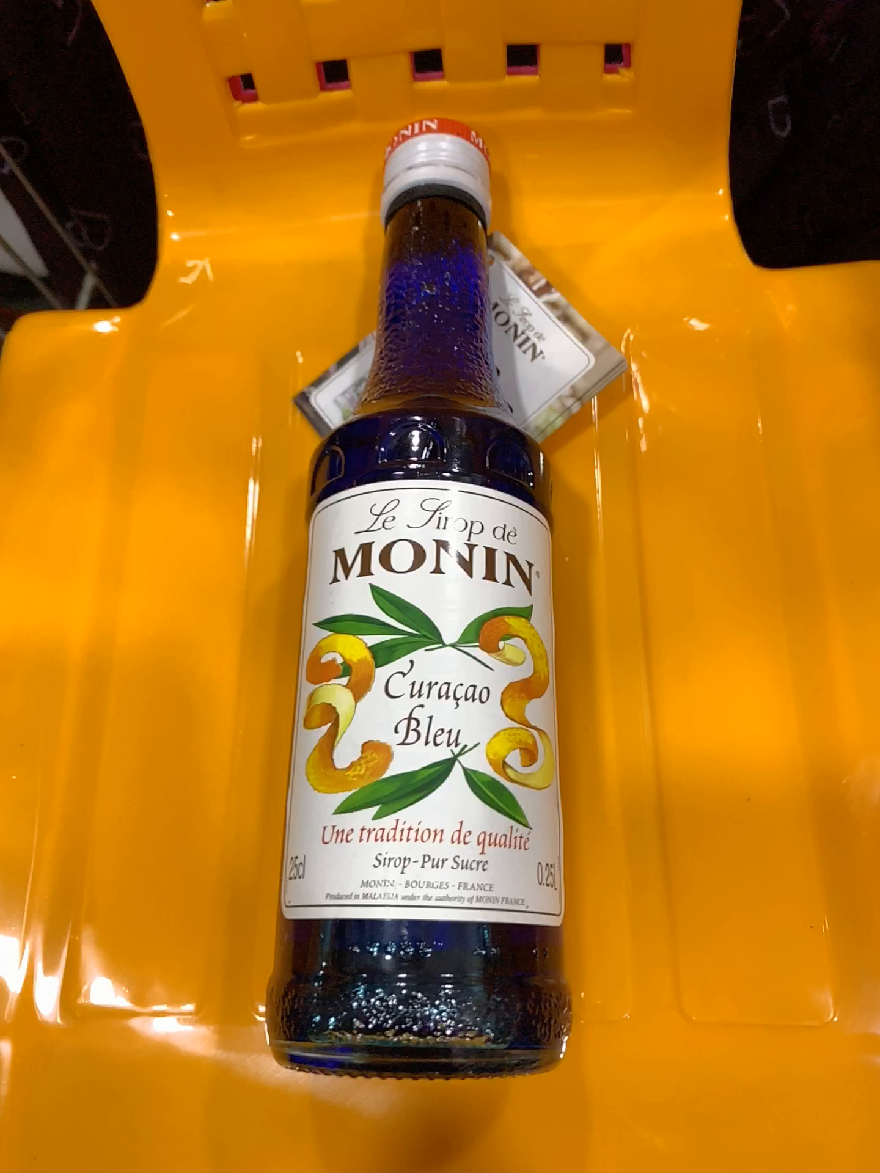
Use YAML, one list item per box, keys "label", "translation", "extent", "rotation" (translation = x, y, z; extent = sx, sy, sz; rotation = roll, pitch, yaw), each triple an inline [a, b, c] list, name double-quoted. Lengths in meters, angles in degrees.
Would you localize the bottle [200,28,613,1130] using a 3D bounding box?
- label: "bottle"
  translation: [-0.002, -0.016, 0.196]
  extent: [0.060, 0.050, 0.220]
  rotation: [2, 69, 0]
